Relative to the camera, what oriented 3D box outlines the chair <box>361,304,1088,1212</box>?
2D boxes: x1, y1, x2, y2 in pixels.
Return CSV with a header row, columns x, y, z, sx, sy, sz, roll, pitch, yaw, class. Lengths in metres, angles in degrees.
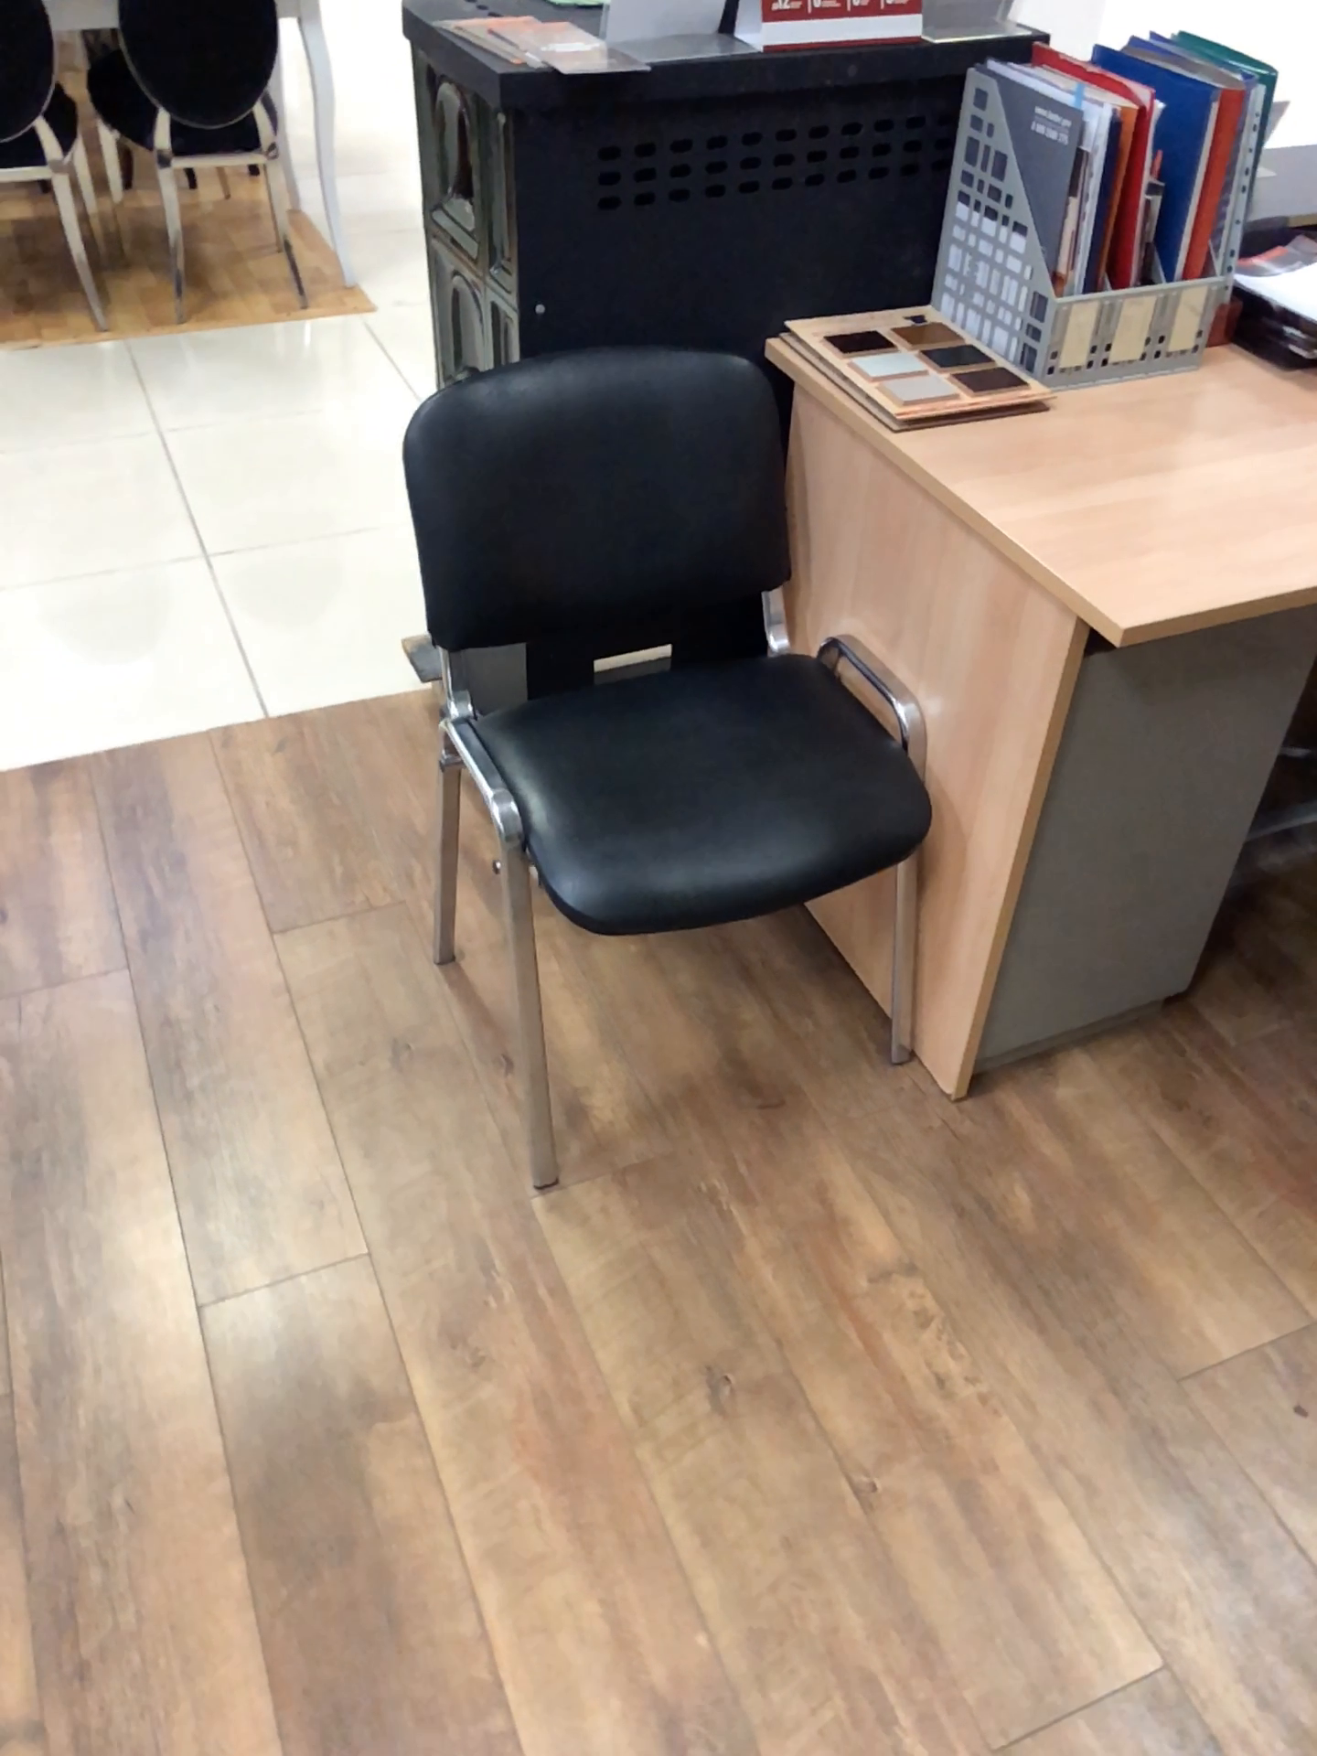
x,y,z,sx,sy,sz,roll,pitch,yaw,class
0.035,-0.138,1.732,0.581,0.856,0.482,-15,43,-19,chair
